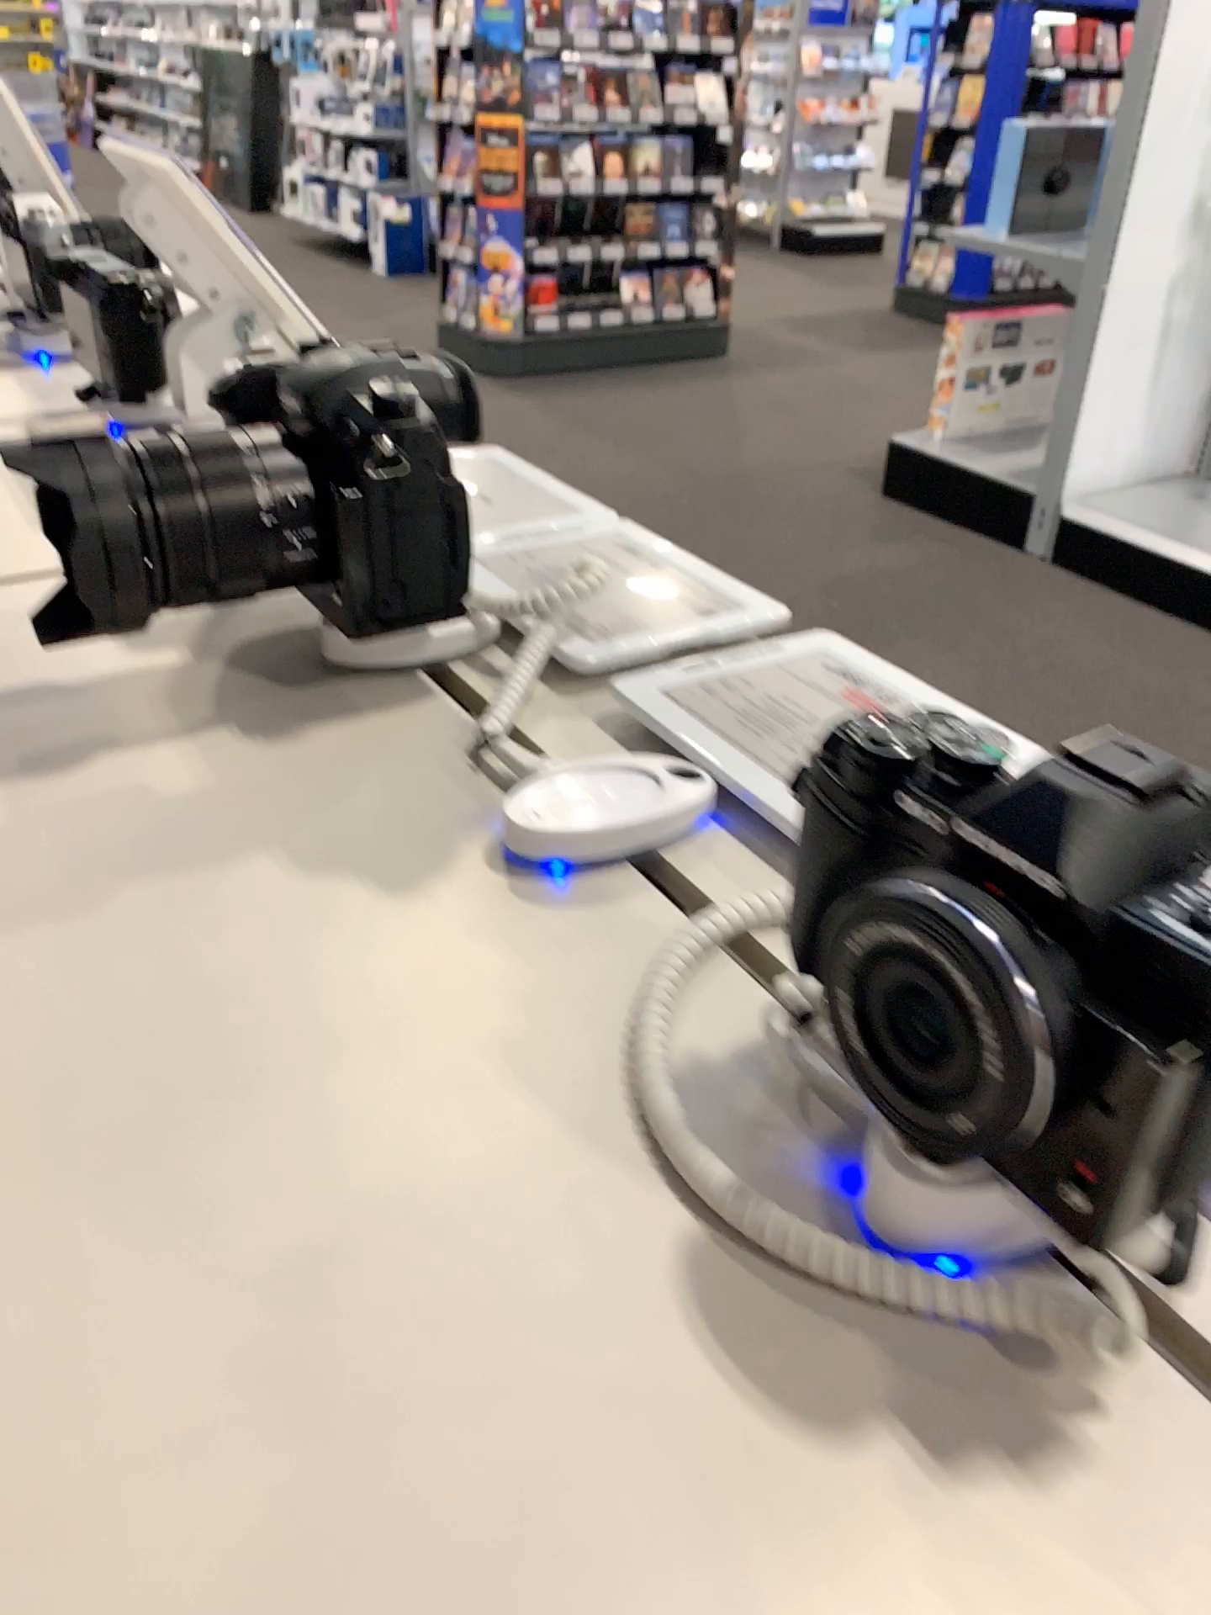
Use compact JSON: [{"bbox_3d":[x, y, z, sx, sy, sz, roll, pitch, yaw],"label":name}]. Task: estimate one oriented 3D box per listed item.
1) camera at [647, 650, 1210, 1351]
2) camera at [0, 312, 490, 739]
[{"bbox_3d":[0.078,0.032,0.285,0.070,0.080,0.131,-18,38,-29],"label":"camera"},{"bbox_3d":[-0.169,-0.126,0.503,0.200,0.099,0.141,-18,38,-29],"label":"camera"}]
